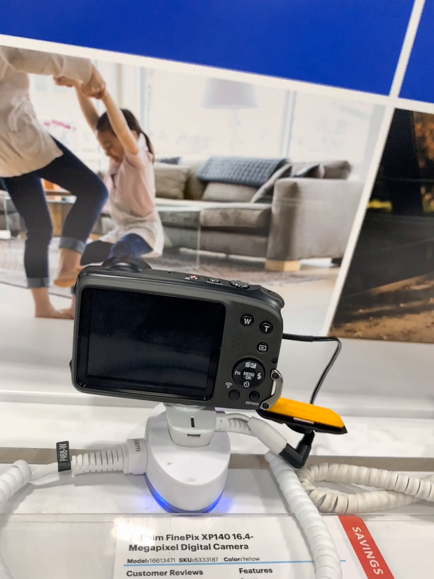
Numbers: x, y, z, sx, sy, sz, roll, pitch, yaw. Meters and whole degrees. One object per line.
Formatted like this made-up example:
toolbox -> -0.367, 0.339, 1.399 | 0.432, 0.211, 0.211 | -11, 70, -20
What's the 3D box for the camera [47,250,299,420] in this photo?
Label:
camera -> -0.022, 0.023, 0.235 | 0.110, 0.060, 0.040 | 10, 15, -8
